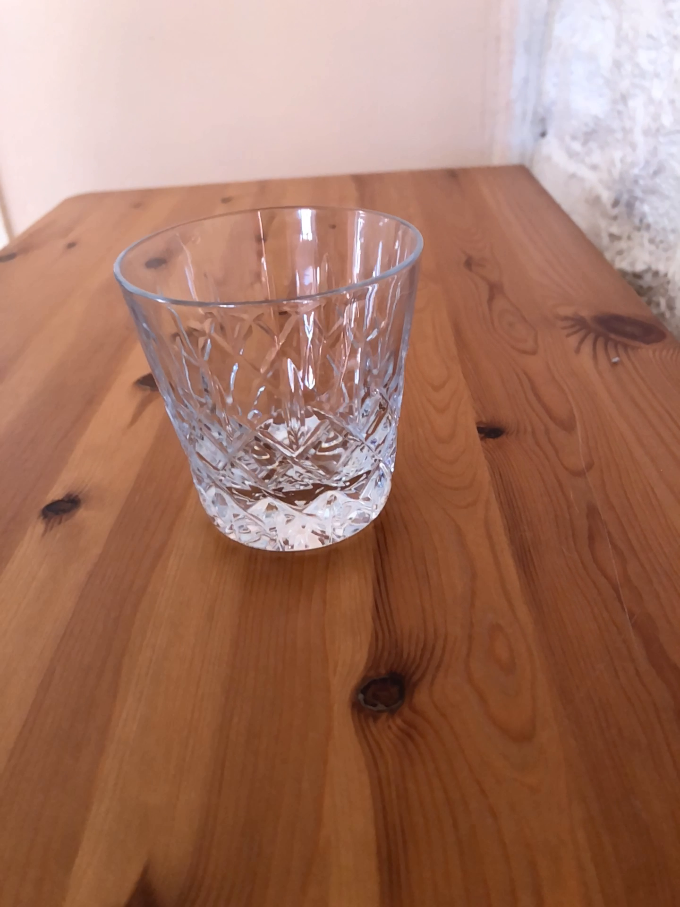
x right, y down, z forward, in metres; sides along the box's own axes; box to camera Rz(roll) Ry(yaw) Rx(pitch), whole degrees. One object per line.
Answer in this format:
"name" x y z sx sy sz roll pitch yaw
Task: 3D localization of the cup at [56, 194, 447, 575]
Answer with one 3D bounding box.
"cup" -0.012 -0.021 0.197 0.076 0.068 0.078 -4 32 2
